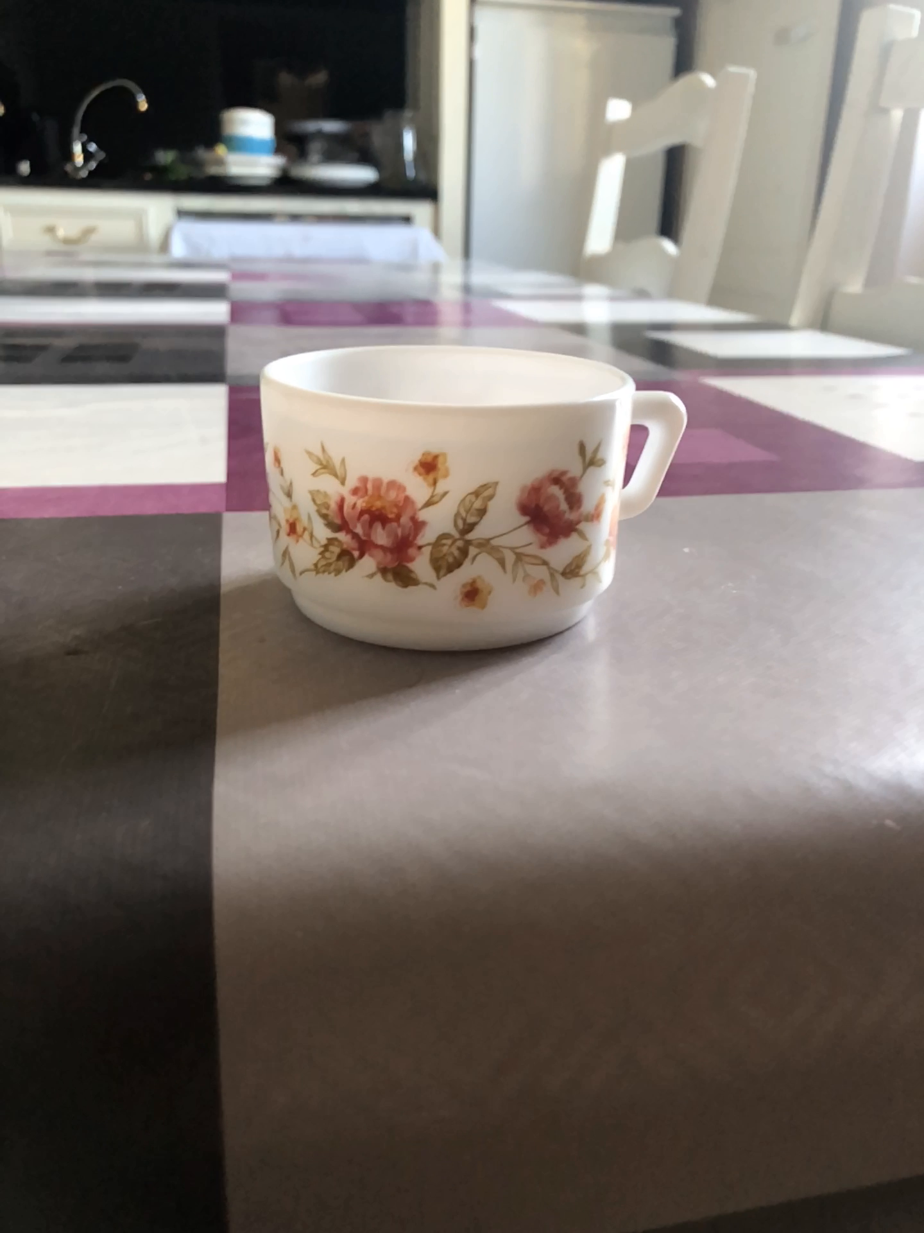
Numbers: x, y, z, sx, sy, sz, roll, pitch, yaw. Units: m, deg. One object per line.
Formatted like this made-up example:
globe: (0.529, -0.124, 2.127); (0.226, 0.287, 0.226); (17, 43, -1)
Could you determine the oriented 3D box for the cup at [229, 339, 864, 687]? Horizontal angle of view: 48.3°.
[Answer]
cup: (0.009, -0.029, 0.219); (0.110, 0.050, 0.080); (-4, 21, -14)
